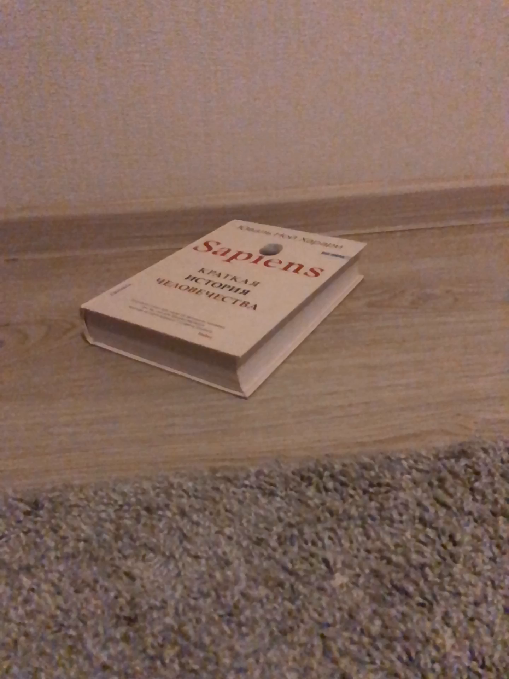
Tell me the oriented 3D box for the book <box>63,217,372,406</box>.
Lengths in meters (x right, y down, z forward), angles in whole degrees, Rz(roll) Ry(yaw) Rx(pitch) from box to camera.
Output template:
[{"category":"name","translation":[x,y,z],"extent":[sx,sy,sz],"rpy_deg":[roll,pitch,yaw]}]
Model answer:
[{"category":"book","translation":[-0.021,-0.049,0.549],"extent":[0.187,0.040,0.259],"rpy_deg":[16,36,27]}]
